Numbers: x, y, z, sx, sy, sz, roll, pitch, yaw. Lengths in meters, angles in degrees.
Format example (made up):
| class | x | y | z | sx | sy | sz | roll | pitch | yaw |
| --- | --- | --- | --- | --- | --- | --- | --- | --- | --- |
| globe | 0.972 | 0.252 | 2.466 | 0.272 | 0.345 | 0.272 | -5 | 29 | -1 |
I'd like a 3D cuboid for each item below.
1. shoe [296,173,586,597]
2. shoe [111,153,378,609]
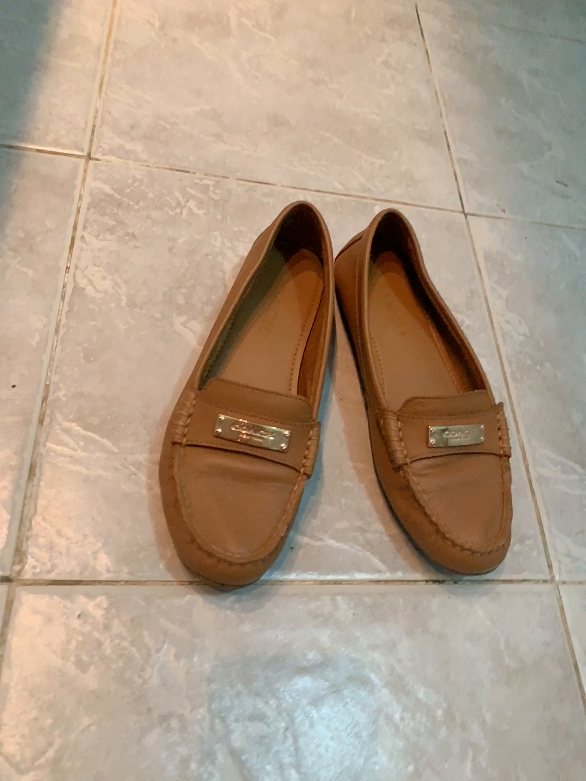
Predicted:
| class | x | y | z | sx | sy | sz | roll | pitch | yaw |
| --- | --- | --- | --- | --- | --- | --- | --- | --- | --- |
| shoe | 0.077 | -0.015 | 0.360 | 0.085 | 0.071 | 0.243 | -6 | 64 | -17 |
| shoe | -0.018 | -0.016 | 0.341 | 0.083 | 0.071 | 0.243 | 16 | 60 | -5 |
